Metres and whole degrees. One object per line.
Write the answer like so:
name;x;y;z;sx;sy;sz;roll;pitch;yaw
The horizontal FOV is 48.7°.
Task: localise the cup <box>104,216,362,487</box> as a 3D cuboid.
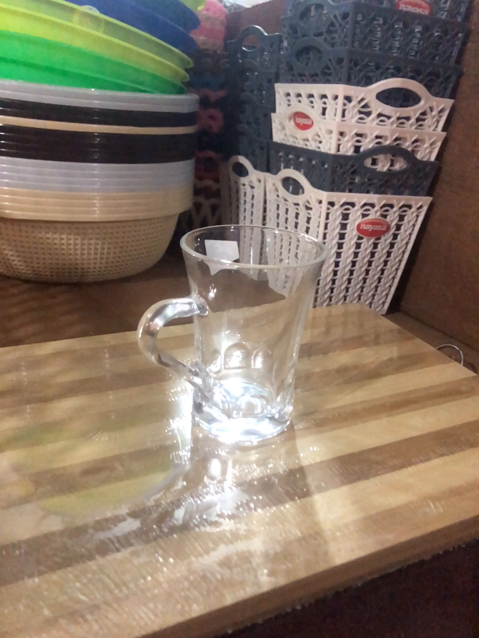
cup;-0.006;0.008;0.239;0.090;0.090;0.060;-11;27;-31
